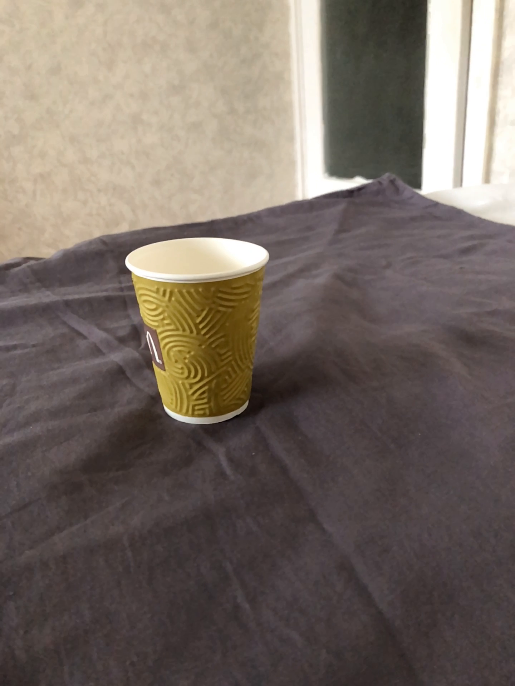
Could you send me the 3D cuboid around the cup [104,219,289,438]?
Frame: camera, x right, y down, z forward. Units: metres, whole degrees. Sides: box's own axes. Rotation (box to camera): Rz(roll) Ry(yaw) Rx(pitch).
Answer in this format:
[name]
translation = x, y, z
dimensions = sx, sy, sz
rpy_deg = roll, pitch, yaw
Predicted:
[cup]
translation = -0.042, -0.017, 0.367
dimensions = 0.098, 0.101, 0.108
rpy_deg = -1, 23, 0
